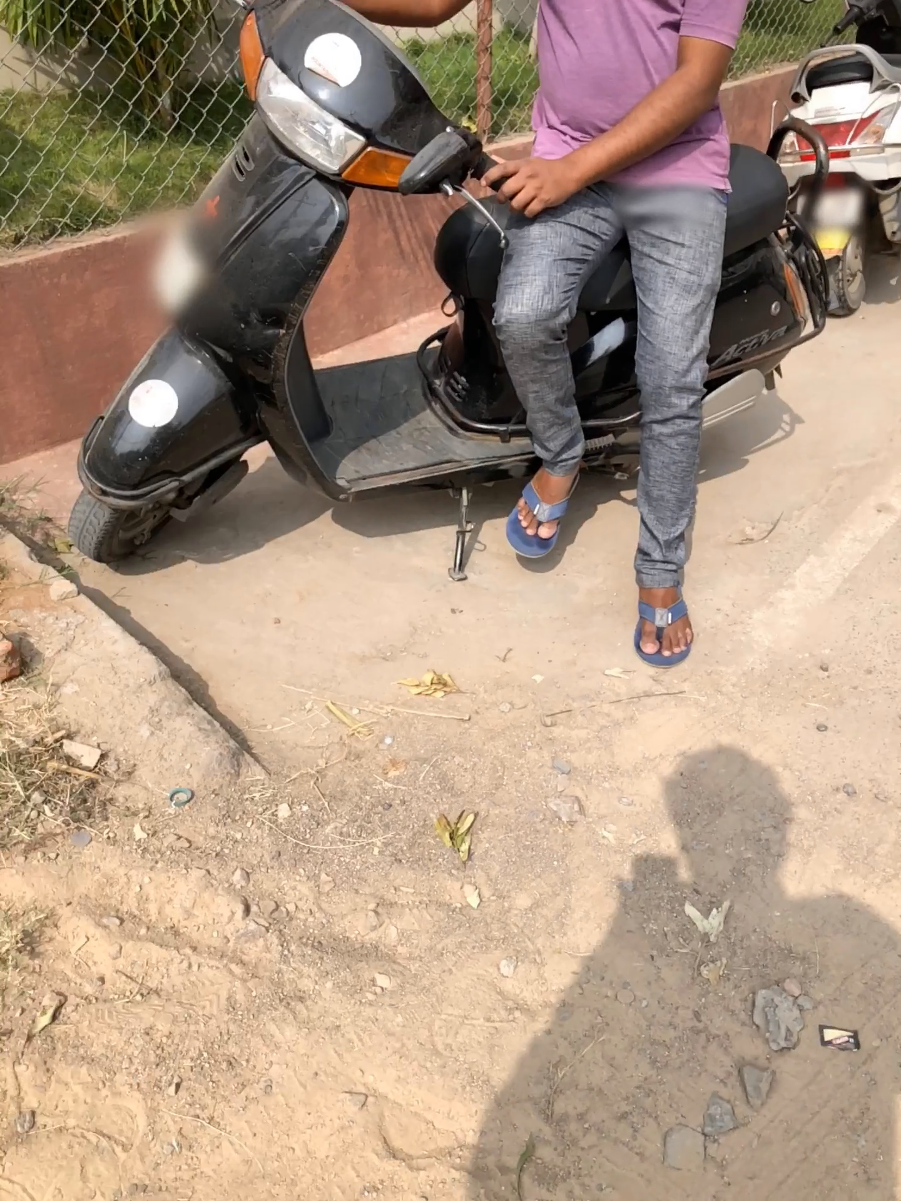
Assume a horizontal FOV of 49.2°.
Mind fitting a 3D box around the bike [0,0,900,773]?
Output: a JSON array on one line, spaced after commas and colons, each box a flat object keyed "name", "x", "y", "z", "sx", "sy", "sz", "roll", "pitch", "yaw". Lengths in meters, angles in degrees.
[{"name": "bike", "x": 0.017, "y": -0.565, "z": 1.882, "sx": 1.551, "sy": 1.153, "sz": 0.711, "roll": -16, "pitch": 39, "yaw": -20}]
